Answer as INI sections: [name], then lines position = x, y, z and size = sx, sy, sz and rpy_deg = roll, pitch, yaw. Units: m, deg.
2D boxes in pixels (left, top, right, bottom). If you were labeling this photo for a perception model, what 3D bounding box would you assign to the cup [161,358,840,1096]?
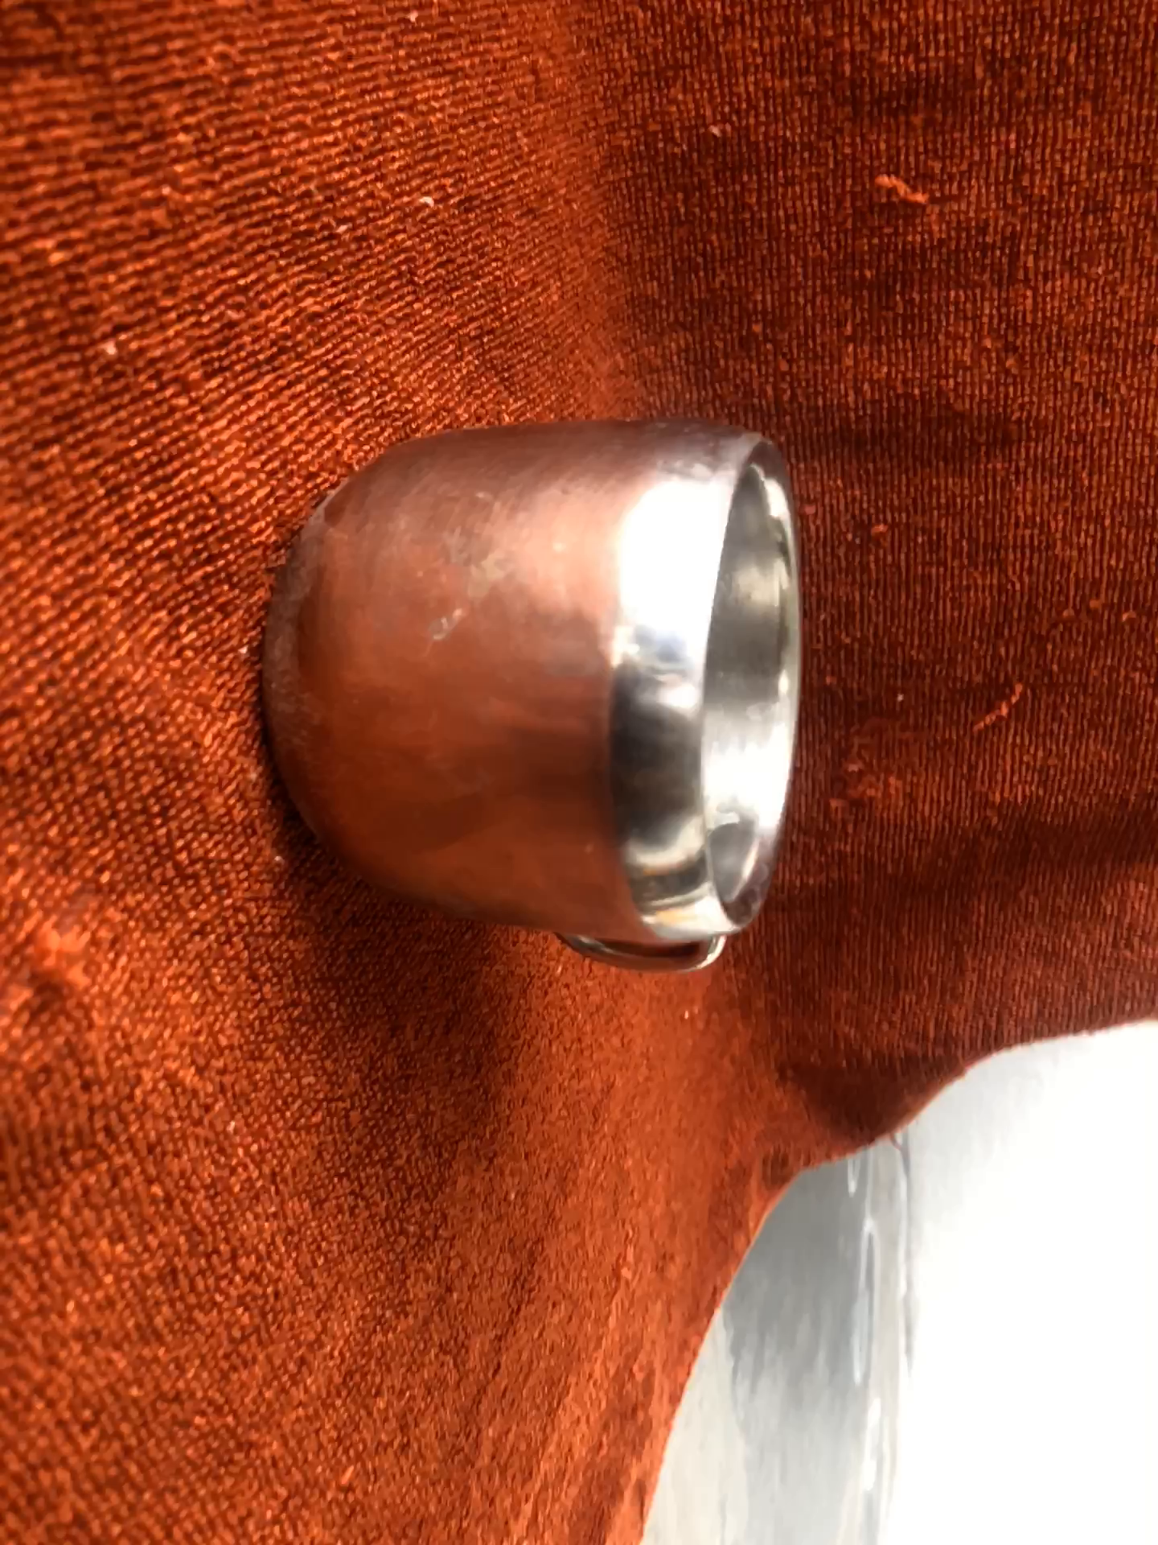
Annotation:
[cup]
position = 0.000, -0.002, 0.186
size = 0.090, 0.060, 0.060
rpy_deg = 67, 34, -53
